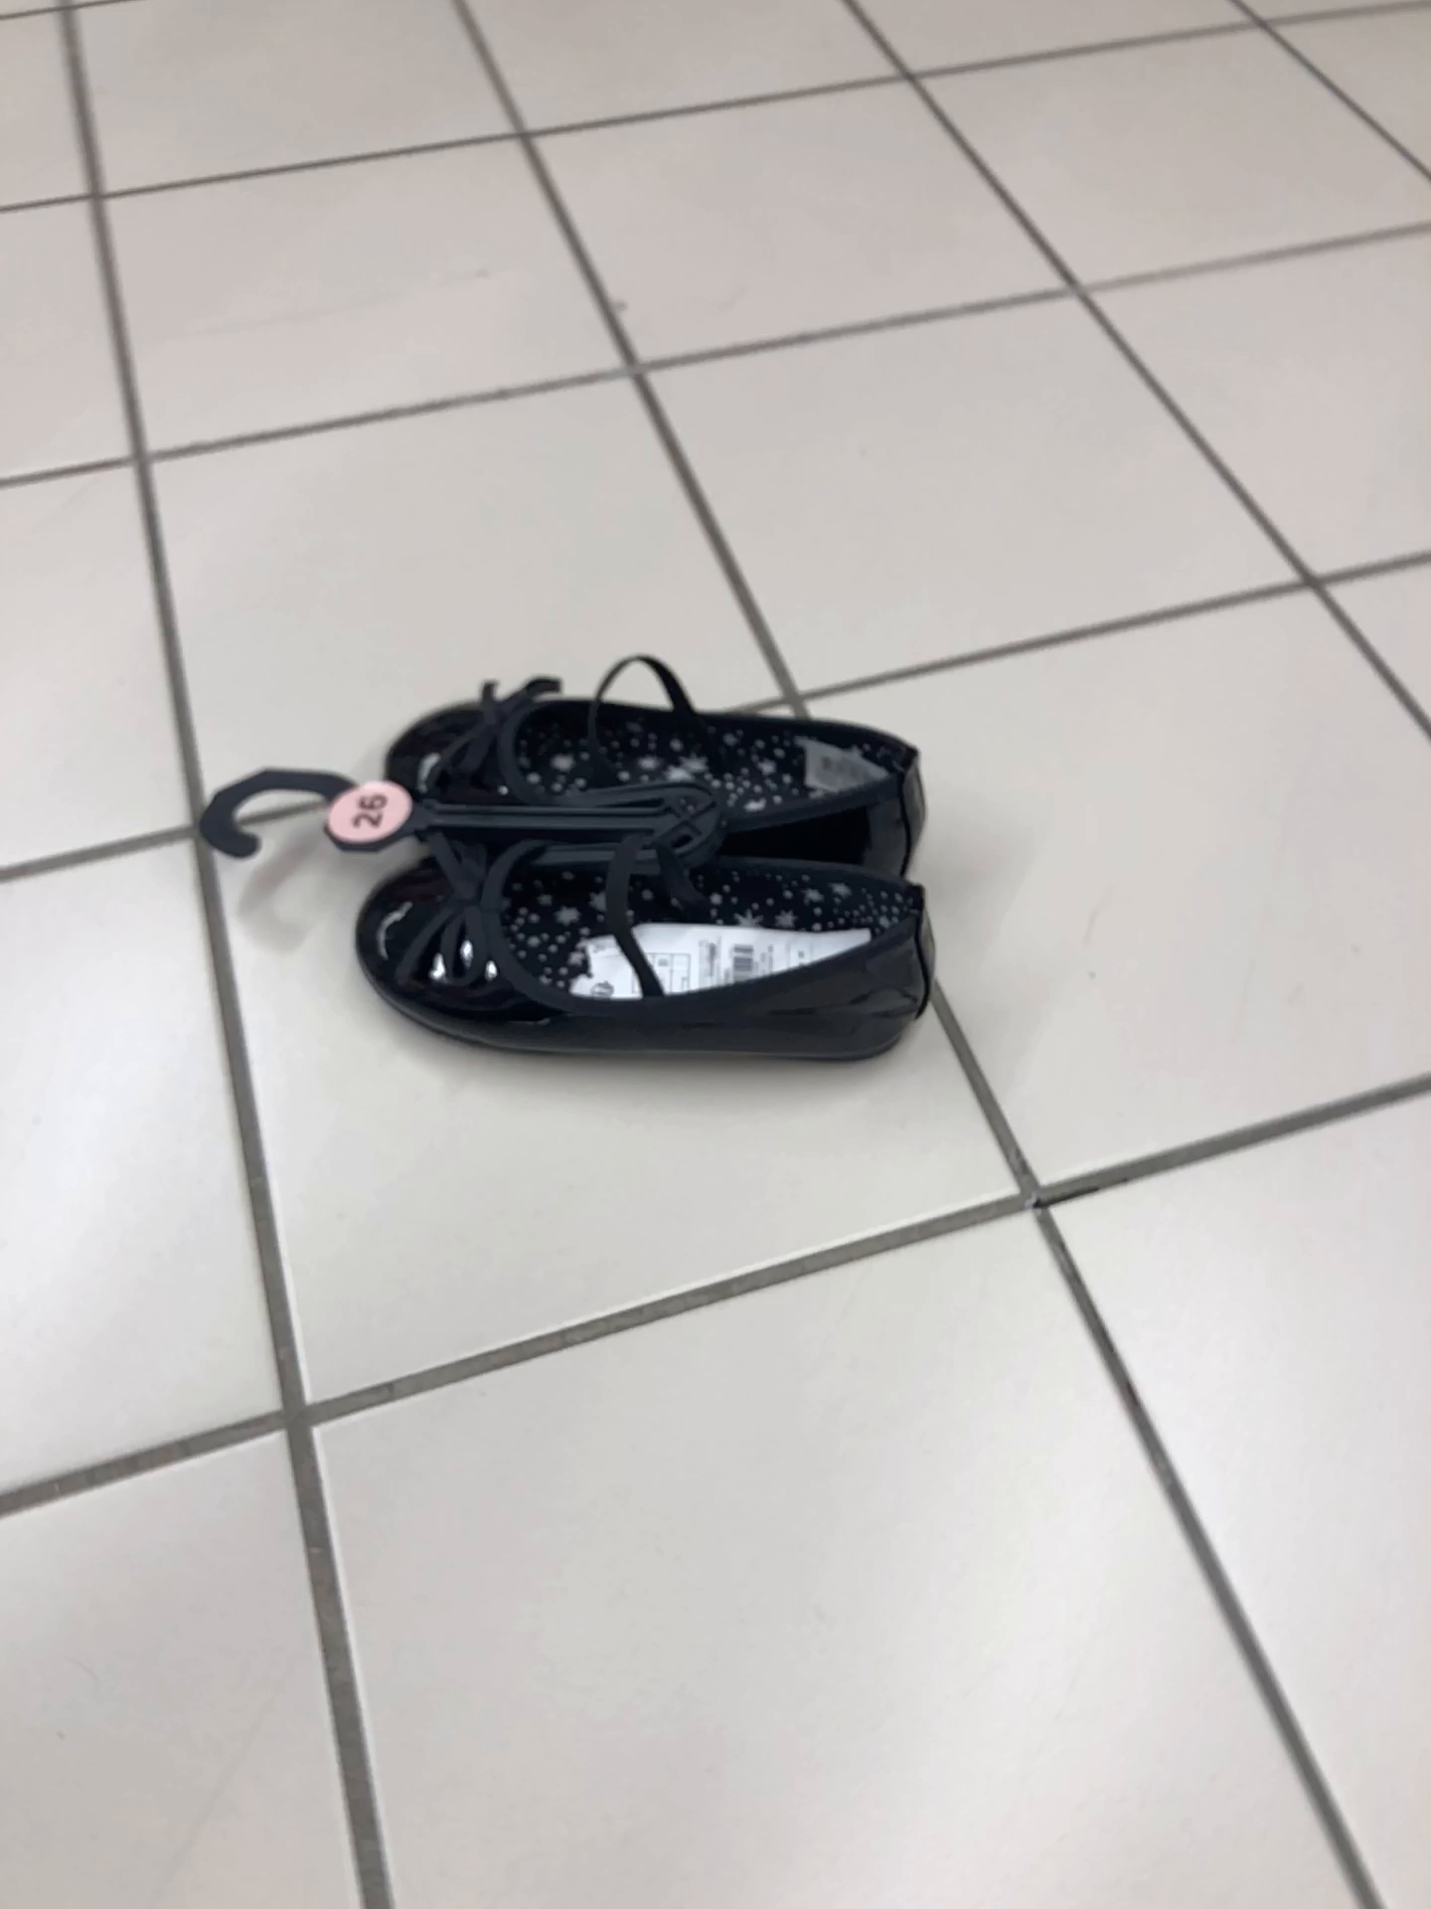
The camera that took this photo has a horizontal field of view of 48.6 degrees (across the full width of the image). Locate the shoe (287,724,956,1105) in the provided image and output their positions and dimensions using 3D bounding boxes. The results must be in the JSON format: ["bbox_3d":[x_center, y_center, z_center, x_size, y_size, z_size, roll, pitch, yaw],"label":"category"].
[{"bbox_3d":[-0.022,-0.012,0.451,0.171,0.055,0.075,5,54,4],"label":"shoe"}]

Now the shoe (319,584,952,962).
[{"bbox_3d":[-0.021,-0.056,0.487,0.173,0.059,0.073,8,54,6],"label":"shoe"}]
